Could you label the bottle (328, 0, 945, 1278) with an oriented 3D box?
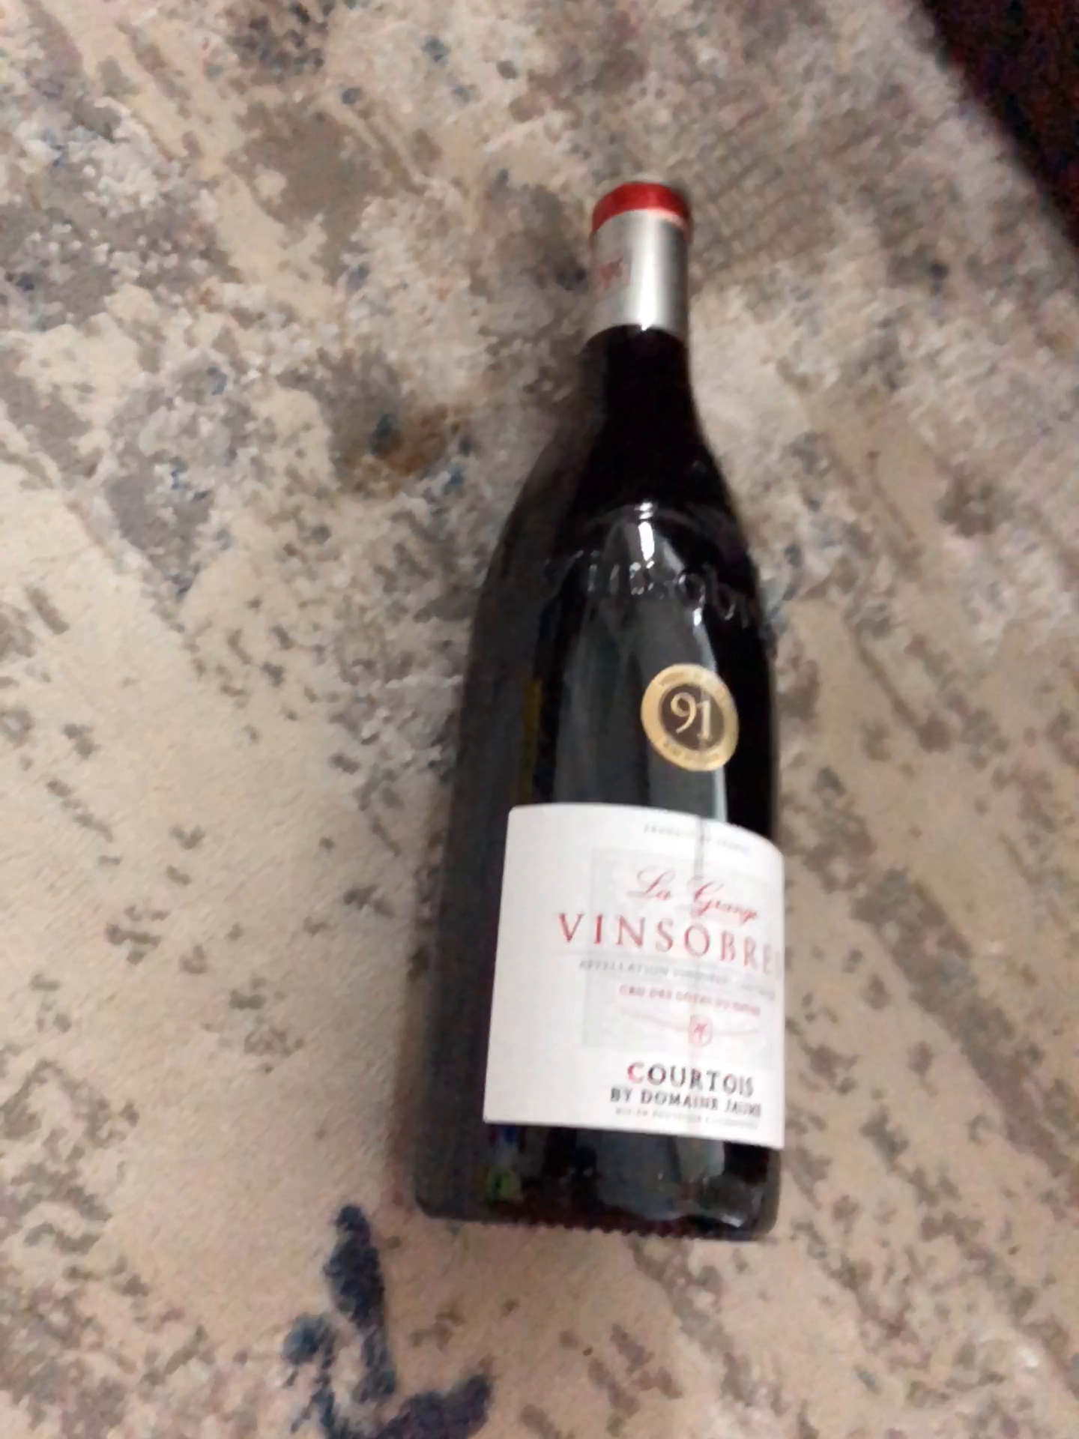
[{"bbox_3d":[0.026,-0.028,0.310,0.090,0.100,0.300,15,66,-25],"label":"bottle"}]
